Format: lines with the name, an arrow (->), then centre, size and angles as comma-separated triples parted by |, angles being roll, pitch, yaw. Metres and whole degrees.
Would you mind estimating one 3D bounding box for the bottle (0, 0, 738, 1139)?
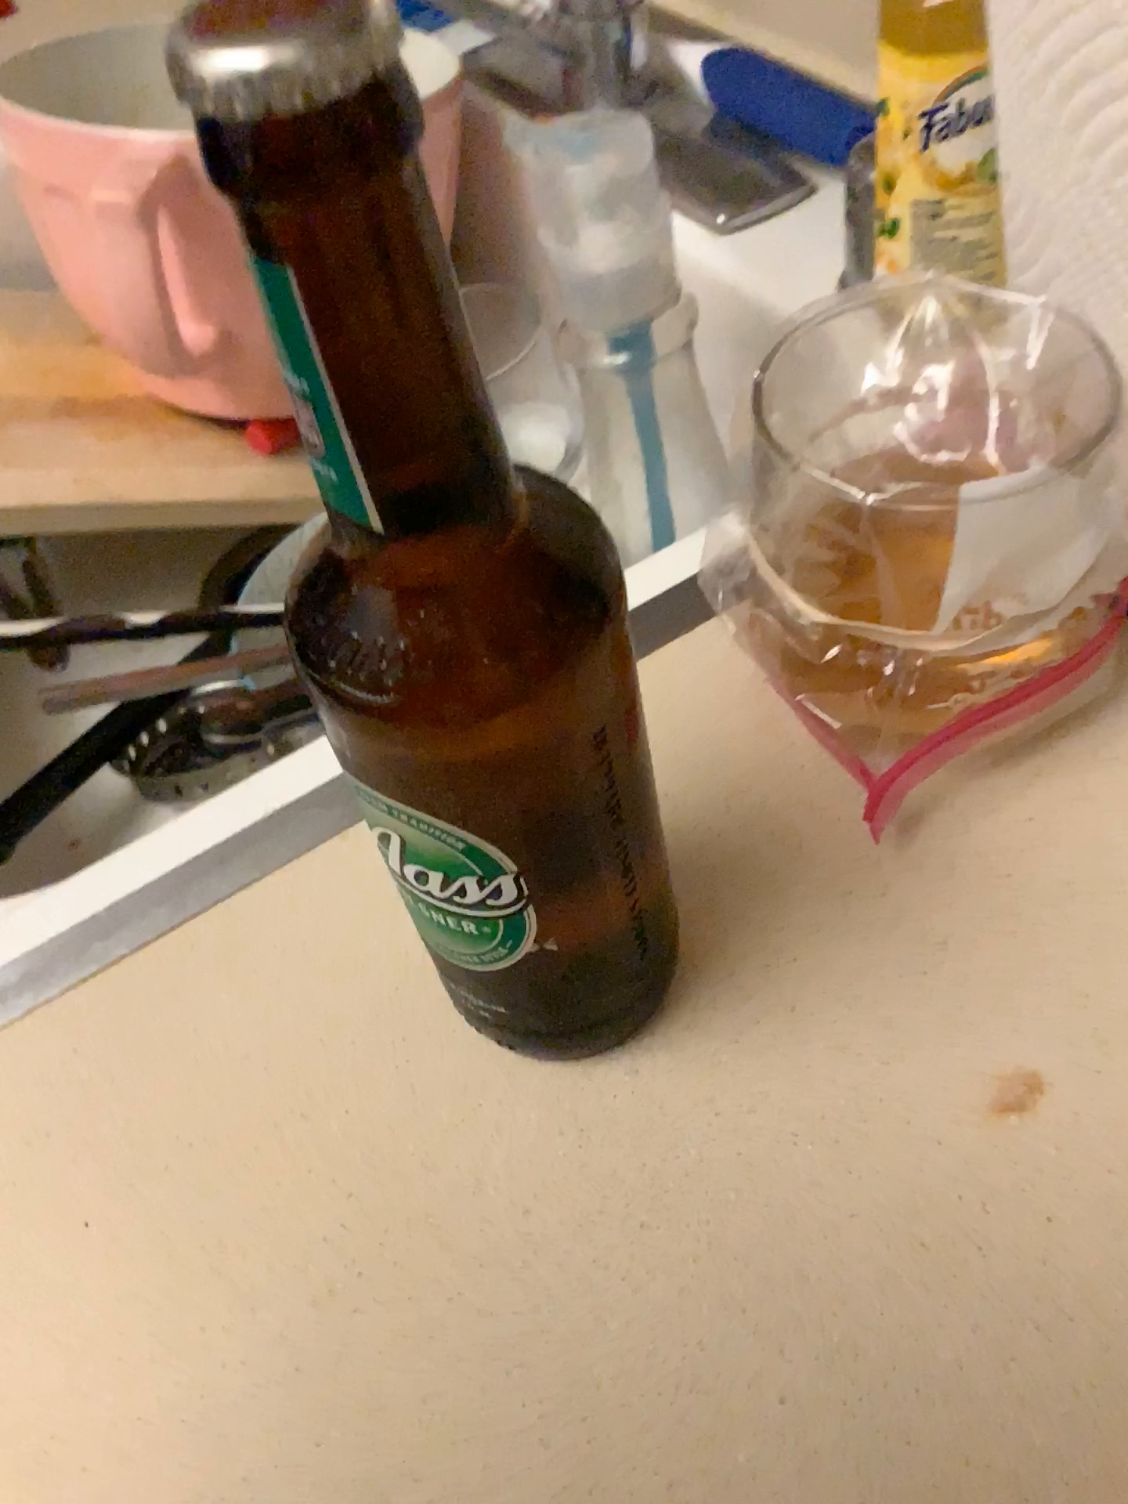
bottle -> -0.019, -0.016, 0.239 | 0.070, 0.230, 0.060 | 28, 61, 29
